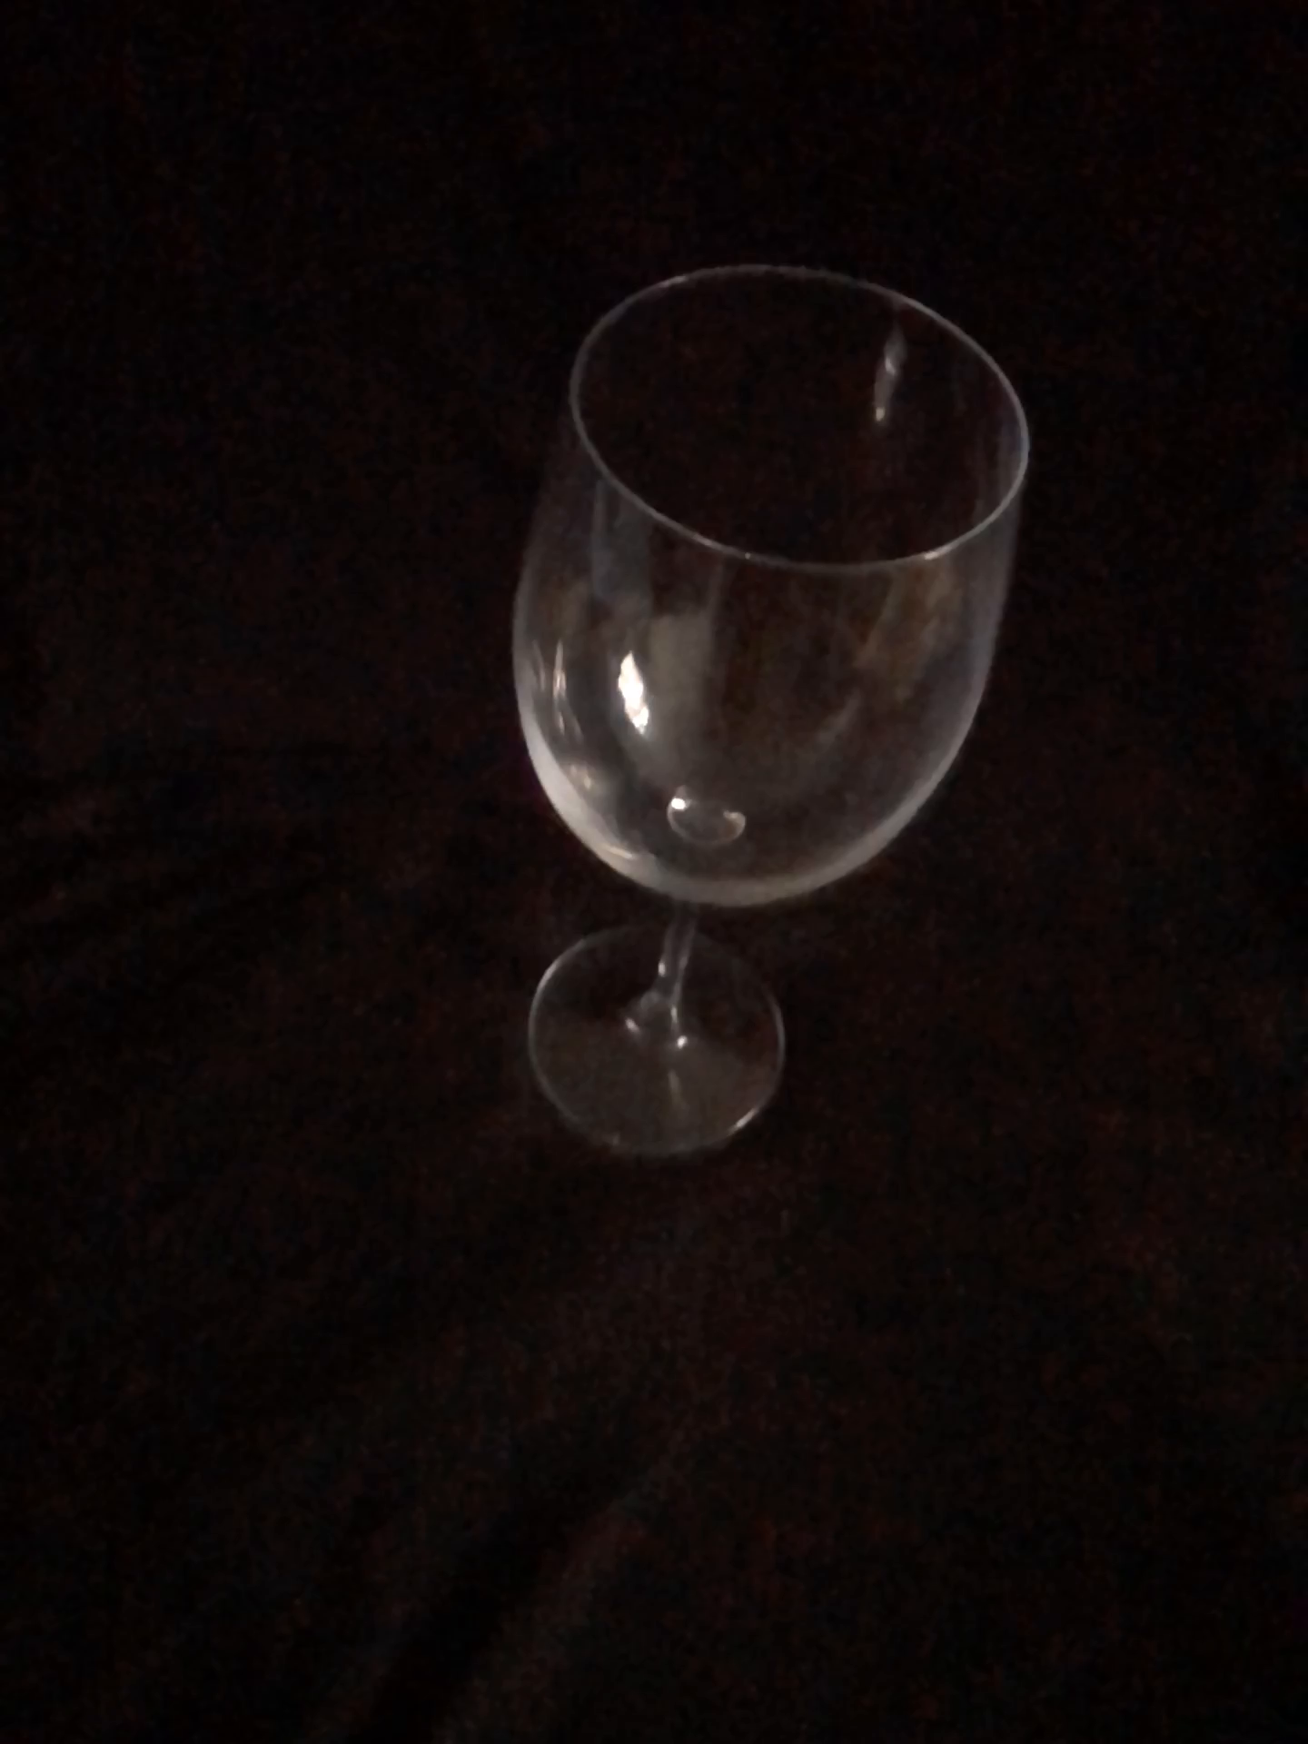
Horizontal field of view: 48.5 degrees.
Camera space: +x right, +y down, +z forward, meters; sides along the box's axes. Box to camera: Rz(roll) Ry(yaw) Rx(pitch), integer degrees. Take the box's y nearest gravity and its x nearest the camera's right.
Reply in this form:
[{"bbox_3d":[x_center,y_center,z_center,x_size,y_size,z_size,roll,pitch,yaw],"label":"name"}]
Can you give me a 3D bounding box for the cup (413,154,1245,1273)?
[{"bbox_3d":[0.020,-0.010,0.357,0.100,0.266,0.103,2,58,-3],"label":"cup"}]
